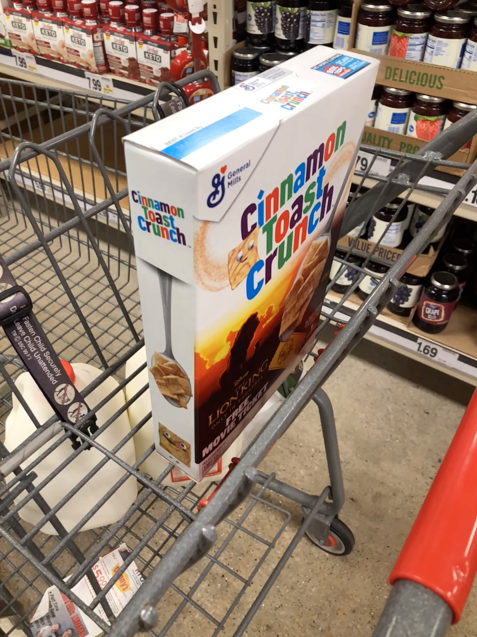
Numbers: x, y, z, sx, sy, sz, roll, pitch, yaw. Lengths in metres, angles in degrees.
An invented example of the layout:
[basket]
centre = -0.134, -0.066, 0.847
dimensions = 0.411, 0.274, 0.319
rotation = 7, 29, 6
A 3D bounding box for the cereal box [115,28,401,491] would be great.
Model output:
[cereal box]
centre = 0.014, -0.028, 0.411
dimensions = 0.050, 0.309, 0.210
rotation = 31, 51, 22
